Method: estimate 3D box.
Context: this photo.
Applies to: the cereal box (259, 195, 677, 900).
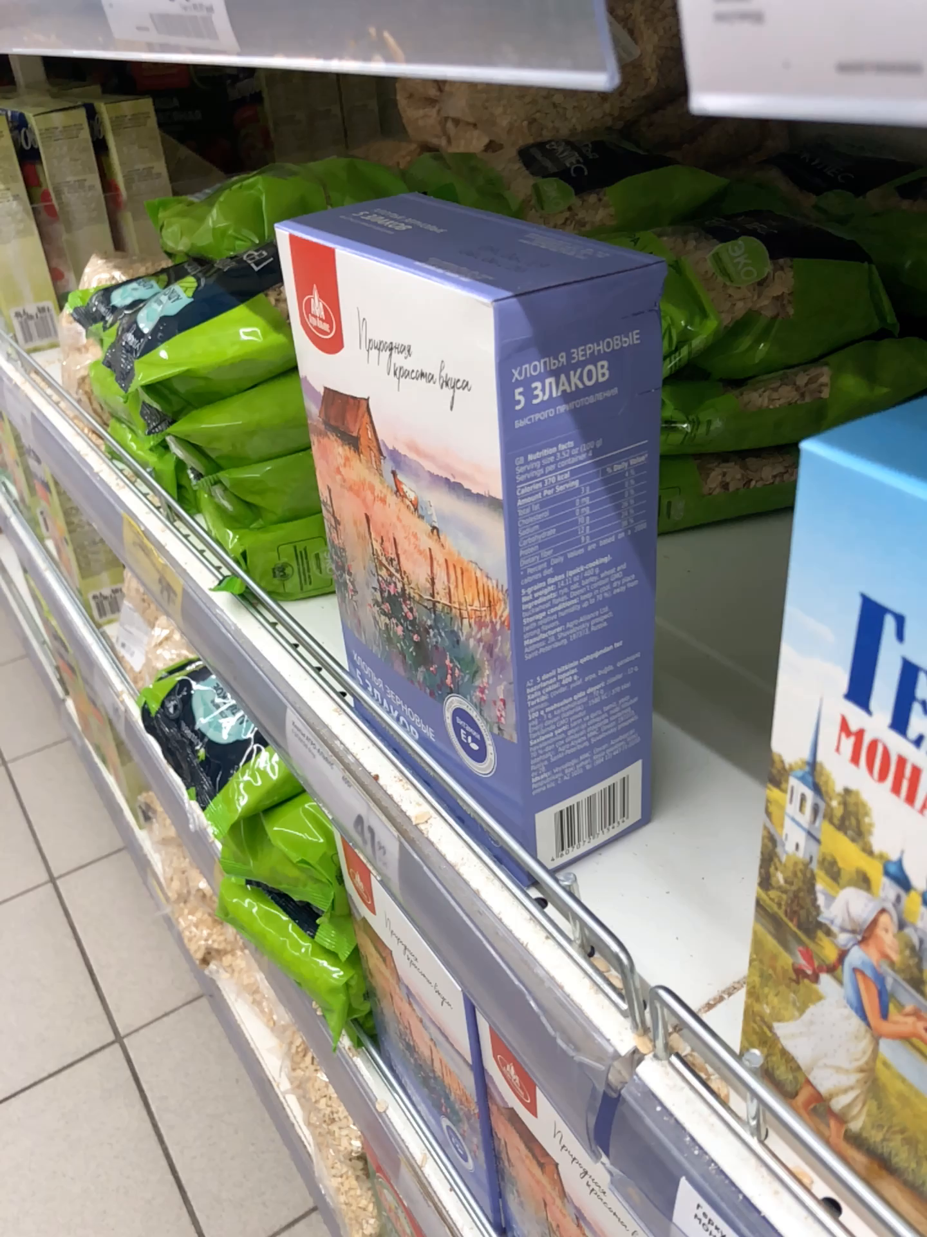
[{"bbox_3d":[0.001,-0.029,0.357,0.060,0.199,0.141,-21,35,-24],"label":"cereal box"}]
